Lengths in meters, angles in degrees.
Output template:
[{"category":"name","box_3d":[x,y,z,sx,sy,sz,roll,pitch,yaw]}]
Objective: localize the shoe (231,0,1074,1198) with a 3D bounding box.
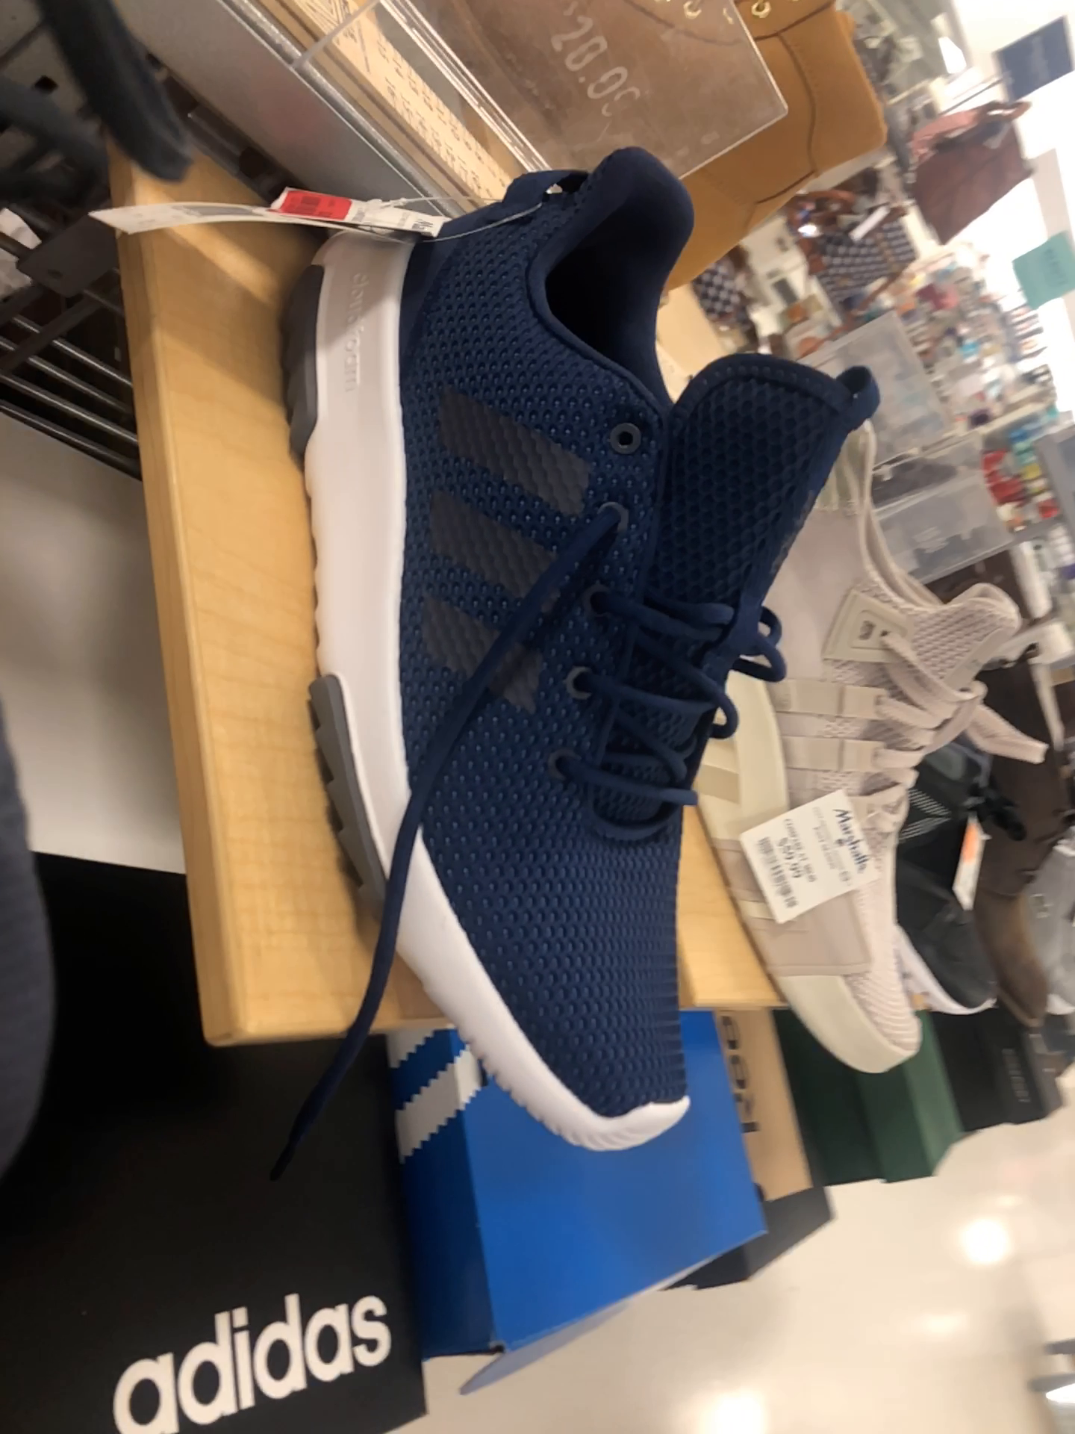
[{"category":"shoe","box_3d":[0.023,-0.043,0.344,0.113,0.145,0.304,22,50,-58]}]
